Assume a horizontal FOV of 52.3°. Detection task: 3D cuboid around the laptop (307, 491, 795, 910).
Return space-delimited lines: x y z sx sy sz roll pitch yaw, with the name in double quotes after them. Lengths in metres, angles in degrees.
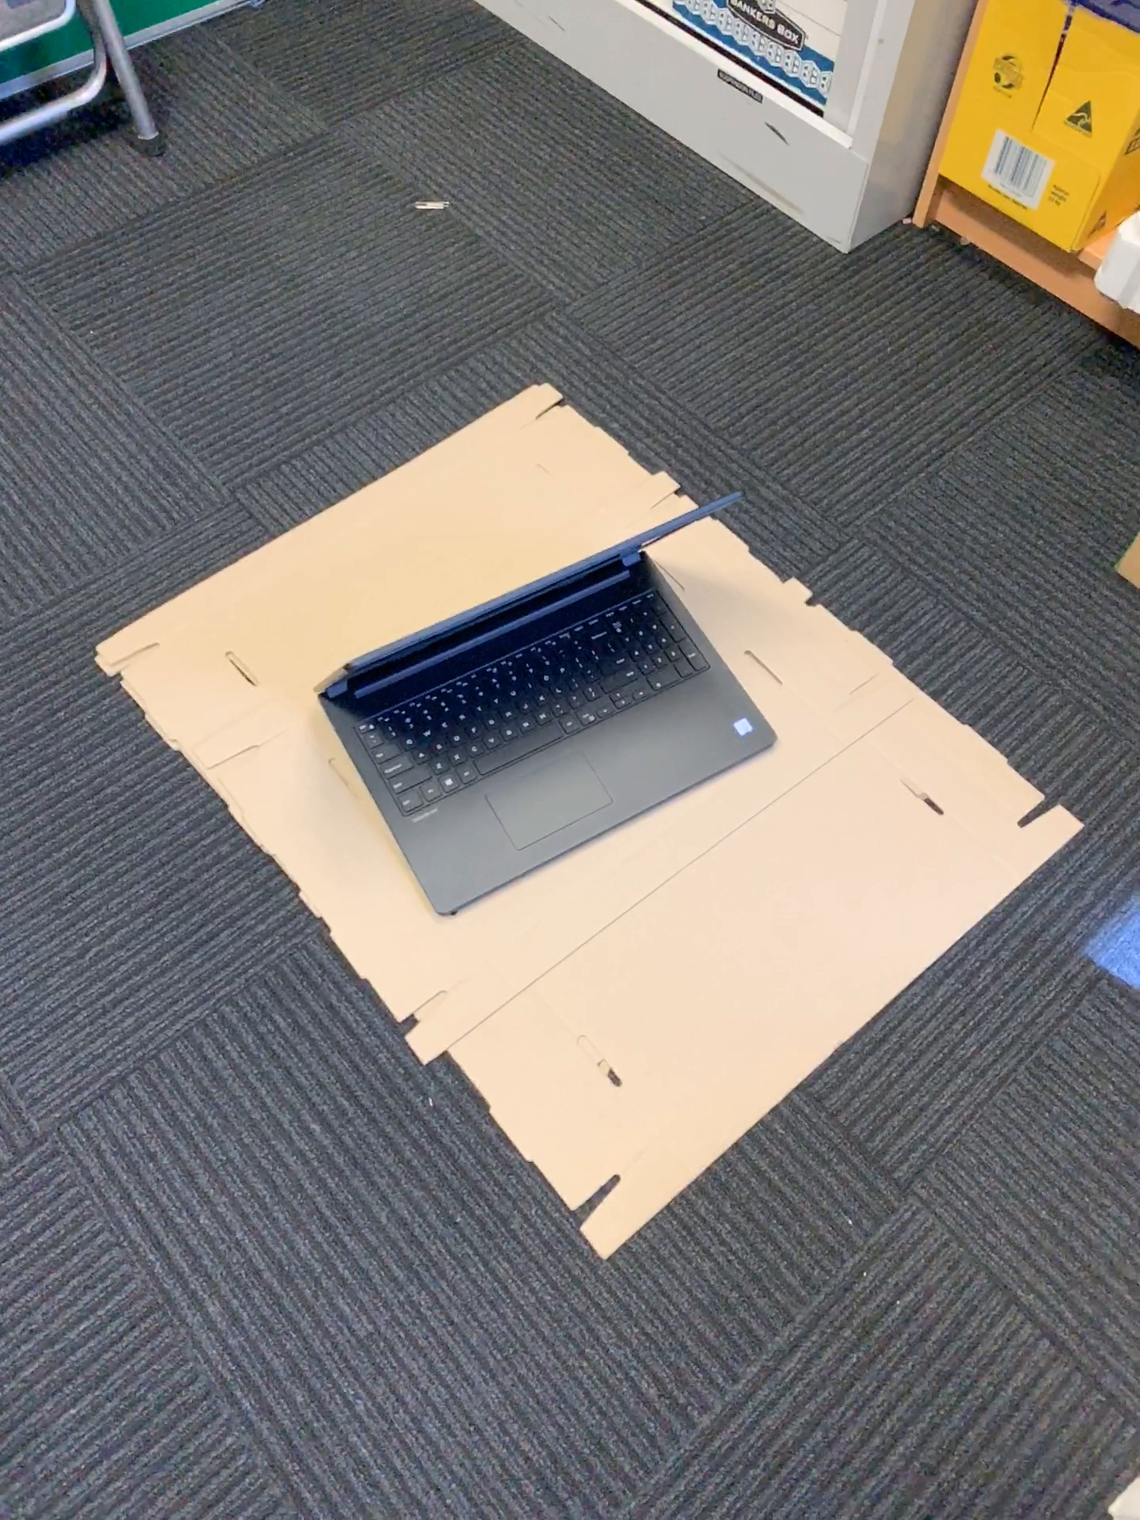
-0.016 -0.060 0.992 0.341 0.085 0.221 -26 67 -16 "laptop"
